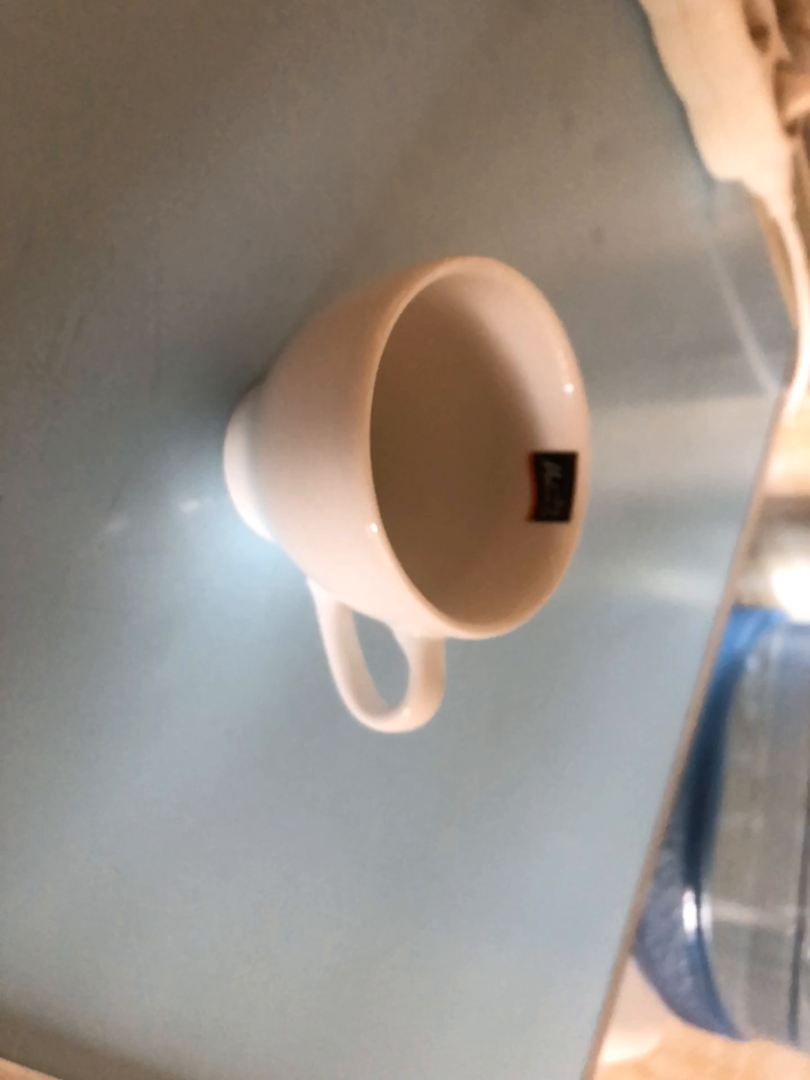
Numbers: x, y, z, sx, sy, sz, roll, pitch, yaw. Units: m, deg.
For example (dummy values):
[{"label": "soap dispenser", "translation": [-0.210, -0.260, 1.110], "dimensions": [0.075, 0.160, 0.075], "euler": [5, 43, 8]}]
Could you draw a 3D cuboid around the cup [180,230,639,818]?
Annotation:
[{"label": "cup", "translation": [0.005, -0.006, 0.227], "dimensions": [0.089, 0.065, 0.110], "euler": [-7, 95, -48]}]
